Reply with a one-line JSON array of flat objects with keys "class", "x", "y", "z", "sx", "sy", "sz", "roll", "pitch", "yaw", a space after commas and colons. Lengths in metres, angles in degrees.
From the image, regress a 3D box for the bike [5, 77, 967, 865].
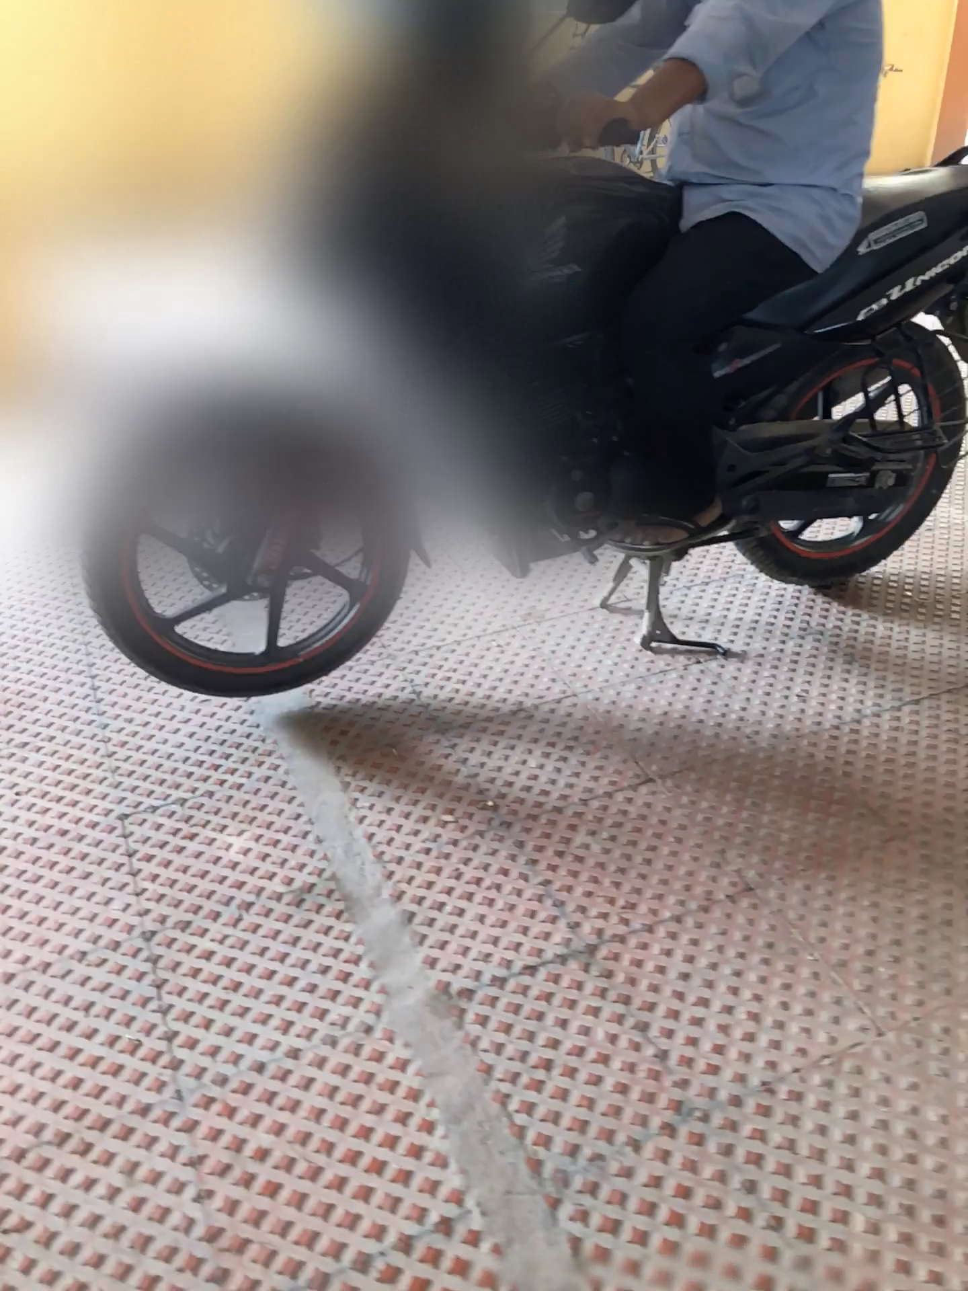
[{"class": "bike", "x": 0.187, "y": -0.462, "z": 2.086, "sx": 1.887, "sy": 1.009, "sz": 0.788, "roll": -13, "pitch": 33, "yaw": -17}]
